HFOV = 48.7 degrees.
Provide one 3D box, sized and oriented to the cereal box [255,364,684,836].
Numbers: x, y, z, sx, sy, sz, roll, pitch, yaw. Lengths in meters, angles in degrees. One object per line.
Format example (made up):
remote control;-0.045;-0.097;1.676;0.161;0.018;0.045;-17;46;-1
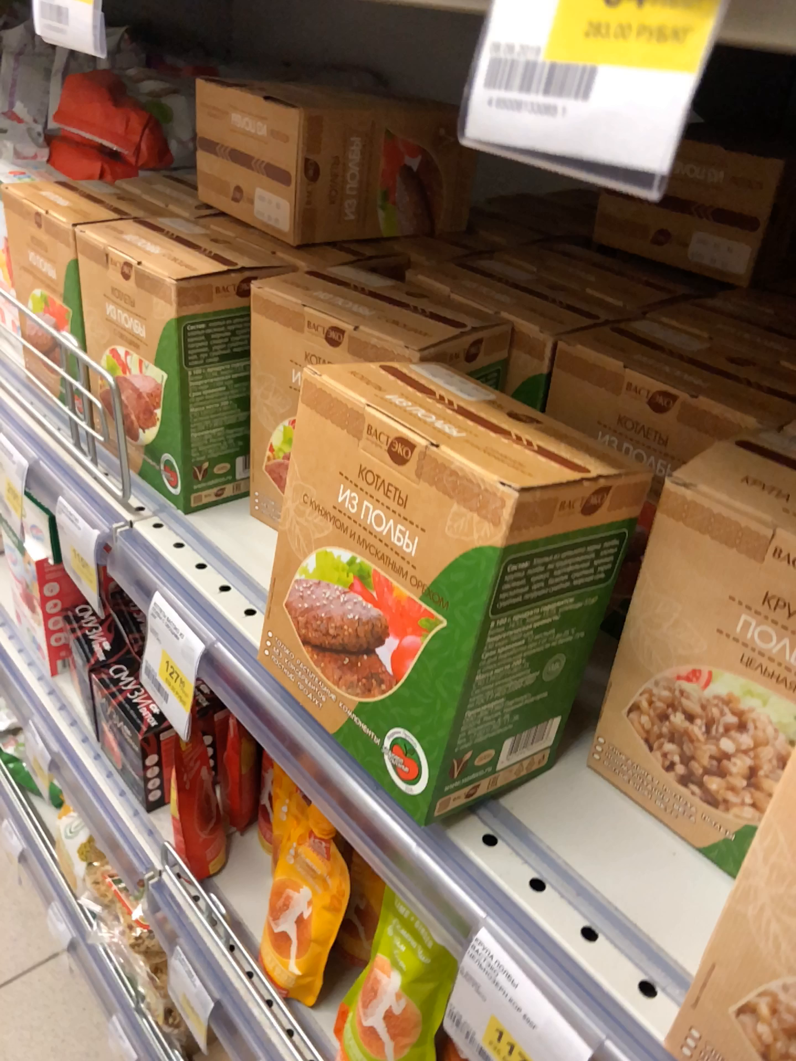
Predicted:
cereal box;0.021;0.019;0.366;0.090;0.139;0.120;-10;34;-41
